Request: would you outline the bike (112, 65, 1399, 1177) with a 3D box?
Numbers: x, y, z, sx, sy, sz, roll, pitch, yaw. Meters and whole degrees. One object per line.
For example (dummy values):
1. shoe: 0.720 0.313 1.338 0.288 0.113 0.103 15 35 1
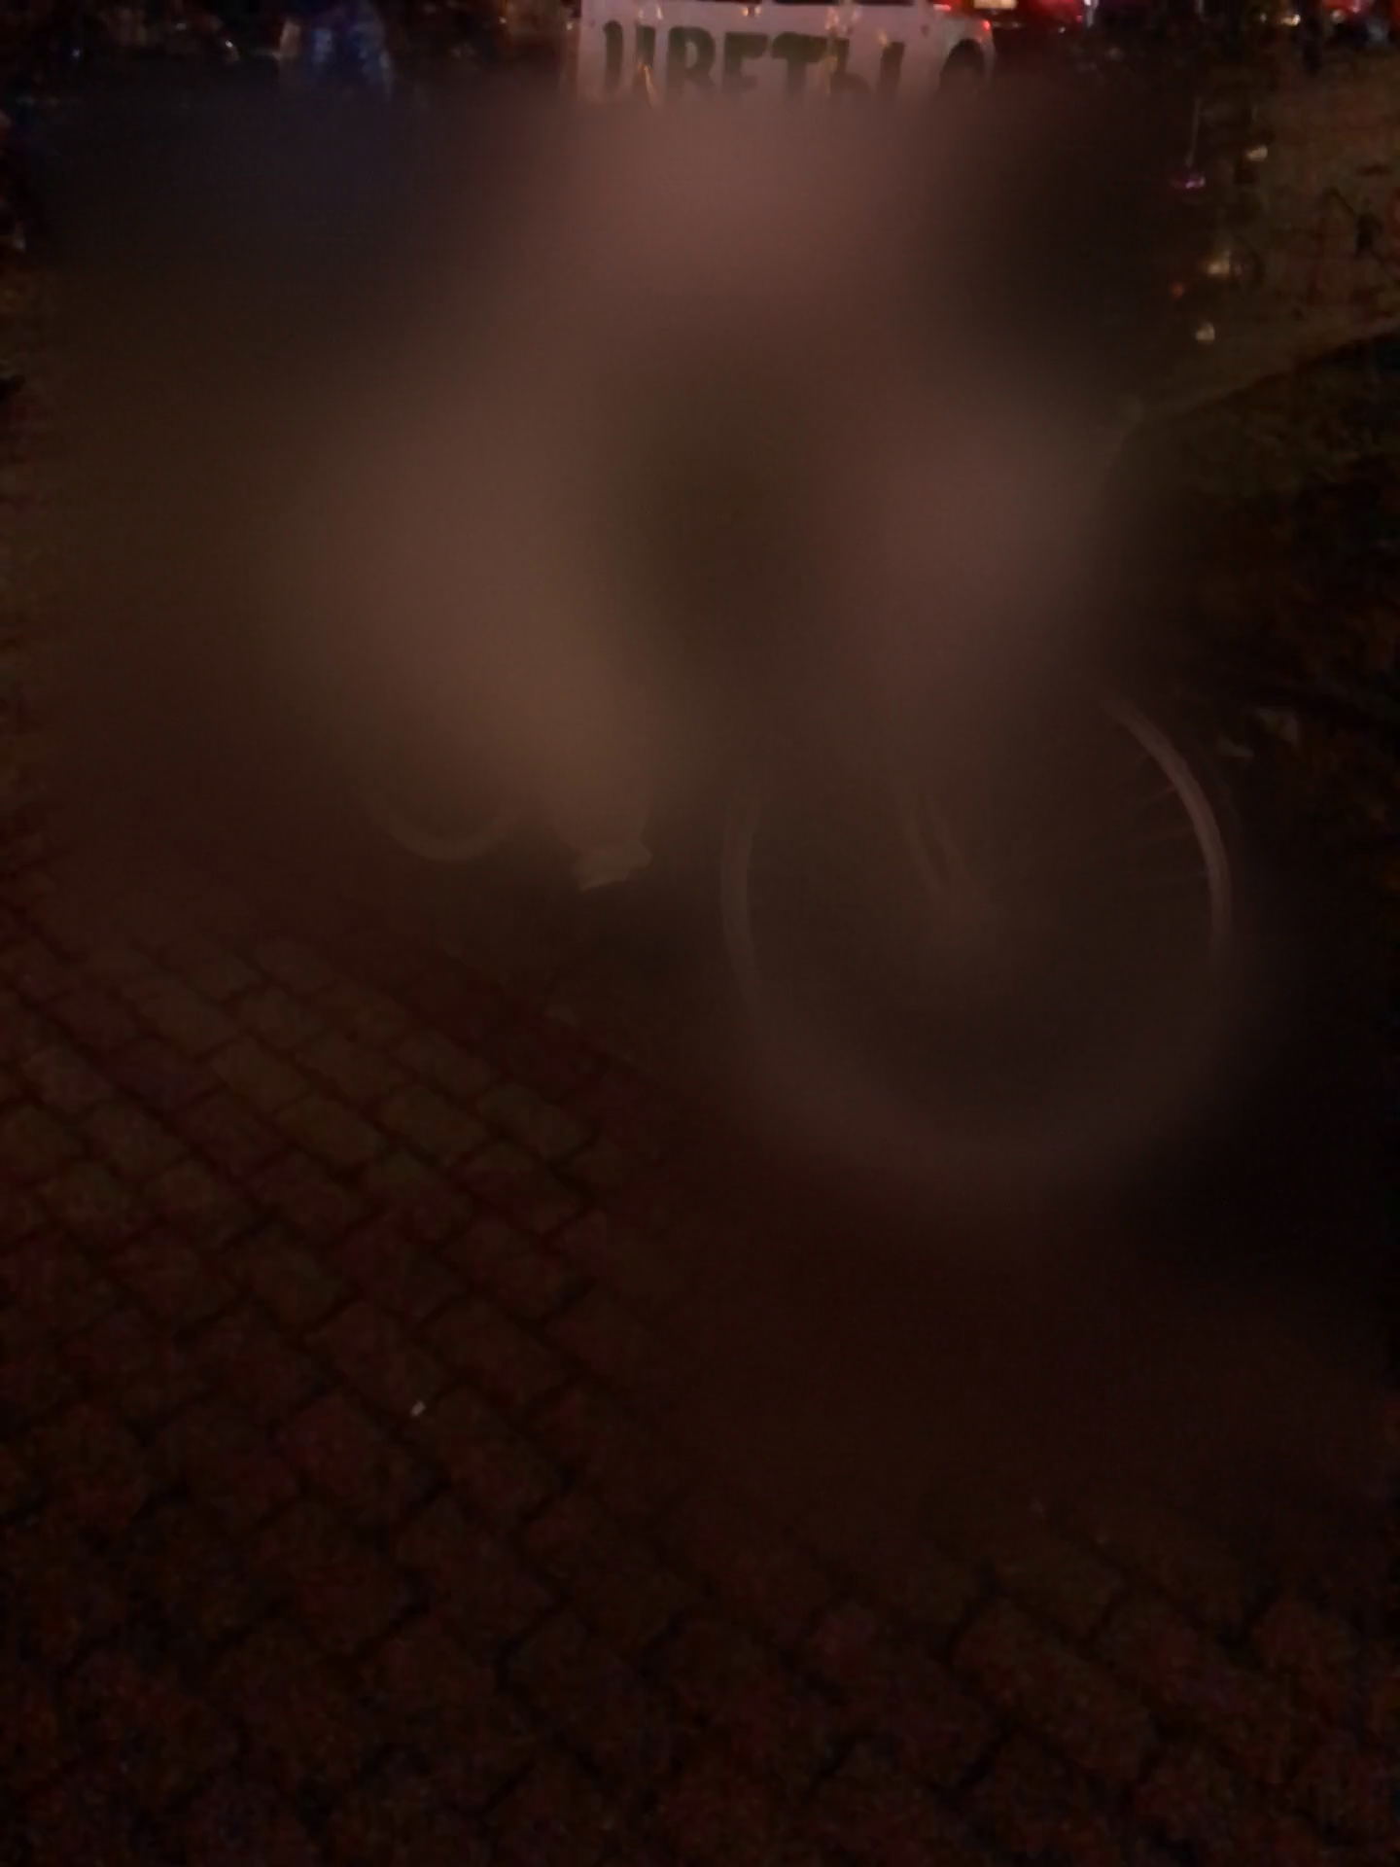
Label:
1. bike: 0.000 -0.562 2.260 1.833 1.118 0.607 22 40 37
